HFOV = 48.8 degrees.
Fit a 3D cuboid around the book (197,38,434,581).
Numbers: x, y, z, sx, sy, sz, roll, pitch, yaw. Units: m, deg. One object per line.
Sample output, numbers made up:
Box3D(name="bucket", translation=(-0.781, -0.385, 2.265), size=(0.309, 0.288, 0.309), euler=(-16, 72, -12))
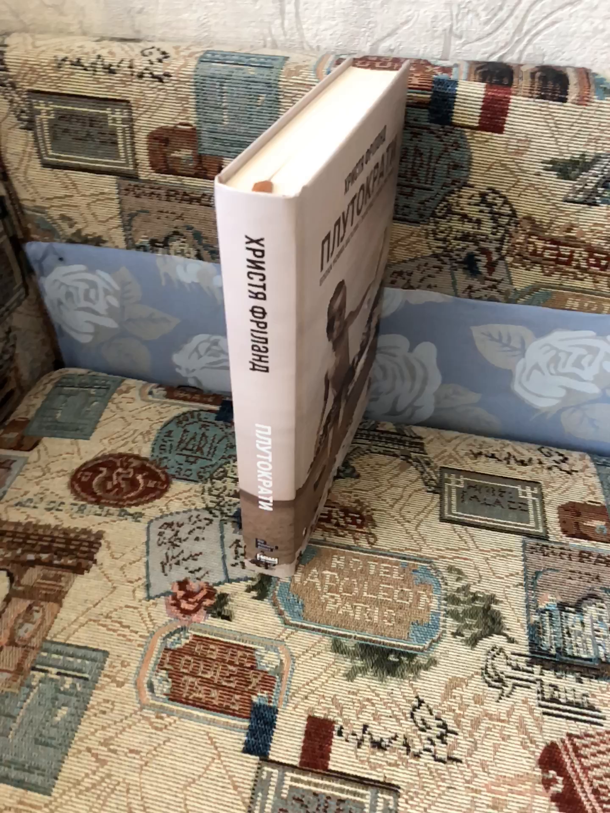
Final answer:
Box3D(name="book", translation=(0.011, -0.046, 0.349), size=(0.040, 0.218, 0.171), euler=(16, 45, 14))
